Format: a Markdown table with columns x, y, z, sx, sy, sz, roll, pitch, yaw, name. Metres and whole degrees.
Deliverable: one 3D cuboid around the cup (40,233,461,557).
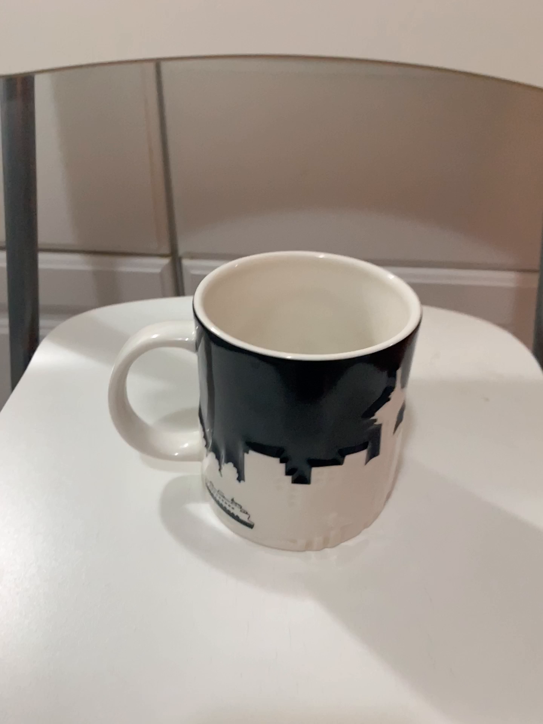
| x | y | z | sx | sy | sz | roll | pitch | yaw | name |
| --- | --- | --- | --- | --- | --- | --- | --- | --- | --- |
| -0.006 | 0.012 | 0.263 | 0.143 | 0.100 | 0.105 | 3 | 40 | 2 | cup |
